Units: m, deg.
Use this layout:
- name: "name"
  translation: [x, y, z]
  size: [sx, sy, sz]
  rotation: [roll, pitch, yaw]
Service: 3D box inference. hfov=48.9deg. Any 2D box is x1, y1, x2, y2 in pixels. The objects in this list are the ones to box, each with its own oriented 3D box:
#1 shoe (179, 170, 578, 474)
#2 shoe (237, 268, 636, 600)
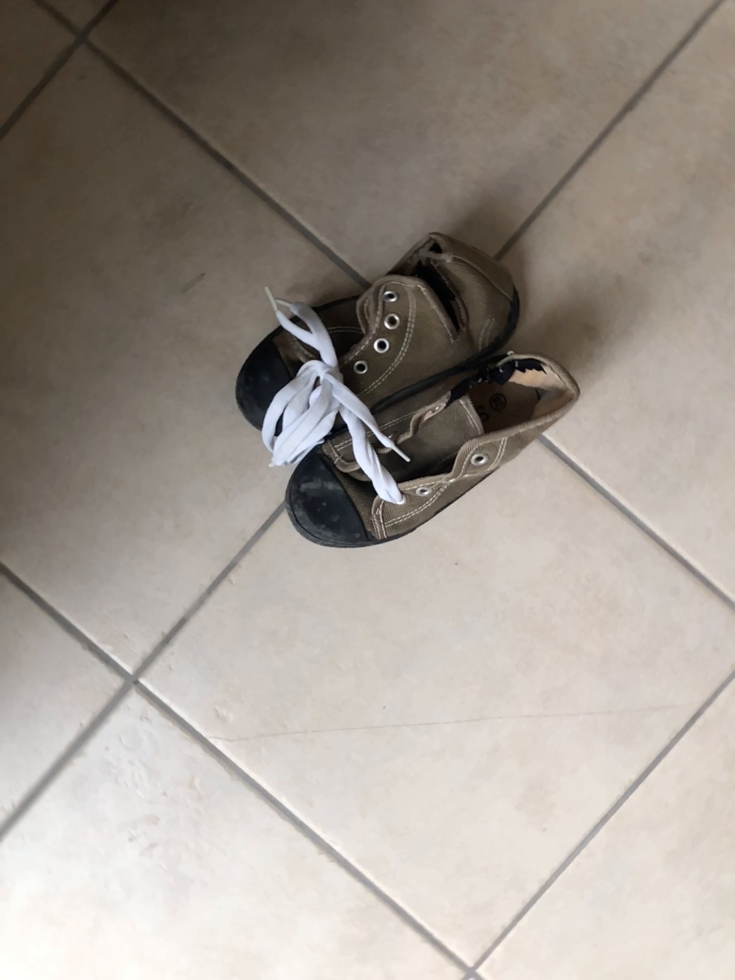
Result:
- name: "shoe"
  translation: [0.006, -0.091, 0.489]
  size: [0.200, 0.110, 0.080]
  rotation: [-27, 91, 1]
- name: "shoe"
  translation: [0.037, -0.031, 0.484]
  size: [0.200, 0.110, 0.080]
  rotation: [-33, 91, 1]
